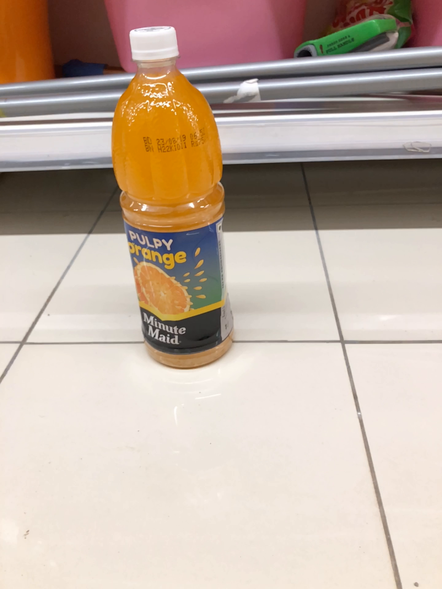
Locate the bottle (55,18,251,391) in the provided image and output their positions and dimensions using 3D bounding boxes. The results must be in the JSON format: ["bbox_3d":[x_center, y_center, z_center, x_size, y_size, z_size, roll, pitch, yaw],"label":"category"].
[{"bbox_3d":[-0.039,-0.063,0.390,0.090,0.268,0.081,19,39,30],"label":"bottle"}]
